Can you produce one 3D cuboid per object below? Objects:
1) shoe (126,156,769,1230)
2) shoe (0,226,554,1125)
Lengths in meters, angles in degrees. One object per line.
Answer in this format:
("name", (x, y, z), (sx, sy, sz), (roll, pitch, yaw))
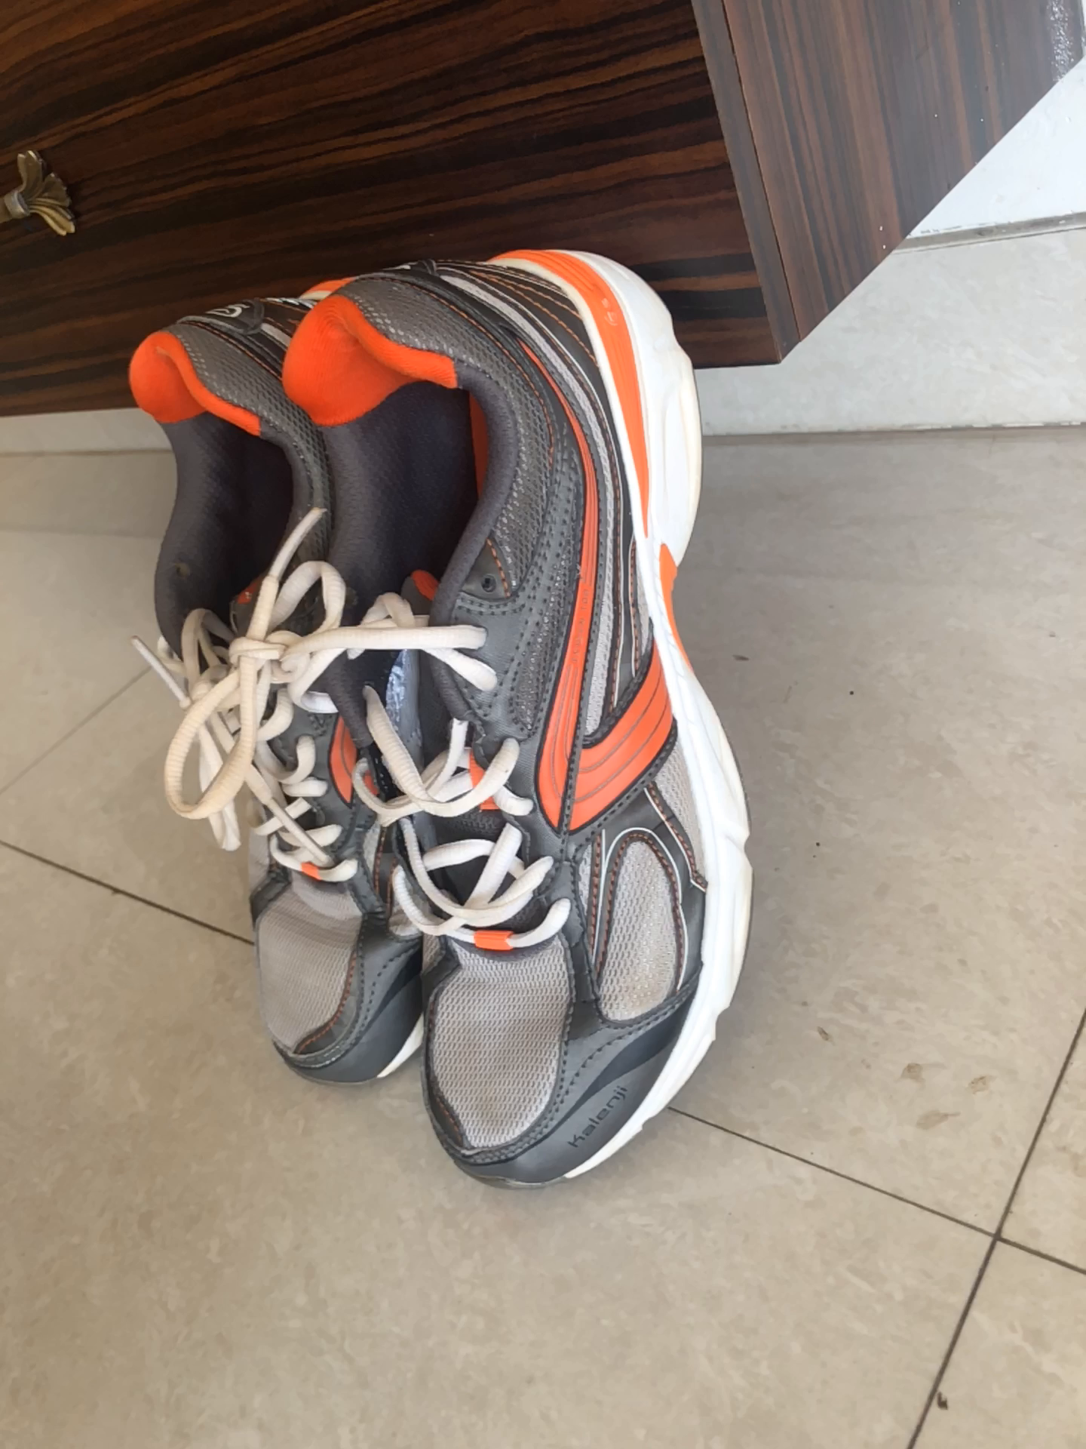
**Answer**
("shoe", (-0.022, -0.013, 0.363), (0.120, 0.259, 0.110), (5, 17, 42))
("shoe", (-0.089, -0.019, 0.423), (0.120, 0.269, 0.100), (4, 18, 35))
